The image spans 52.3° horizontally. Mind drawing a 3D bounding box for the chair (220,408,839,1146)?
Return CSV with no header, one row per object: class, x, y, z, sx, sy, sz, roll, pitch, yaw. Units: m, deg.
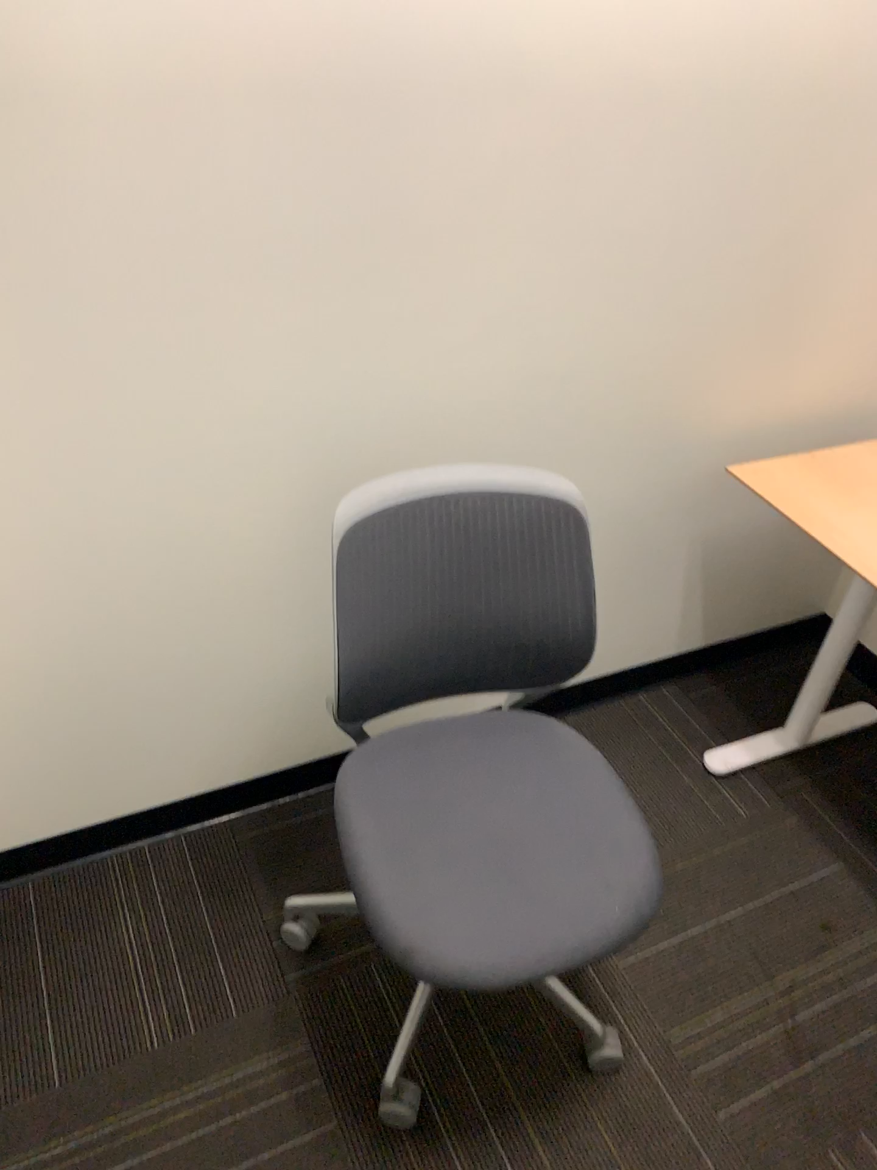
chair,0.023,0.294,1.689,0.720,0.885,0.905,-6,39,-16
